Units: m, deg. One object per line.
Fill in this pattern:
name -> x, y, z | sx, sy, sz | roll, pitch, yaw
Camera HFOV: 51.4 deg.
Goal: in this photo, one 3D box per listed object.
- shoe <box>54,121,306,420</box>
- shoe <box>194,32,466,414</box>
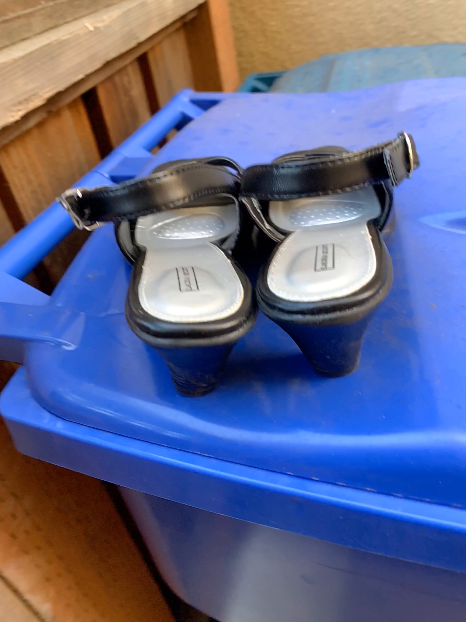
shoe -> -0.033, -0.053, 0.304 | 0.090, 0.089, 0.252 | -1, 29, -7
shoe -> 0.046, -0.075, 0.277 | 0.090, 0.099, 0.252 | -6, 37, 8
